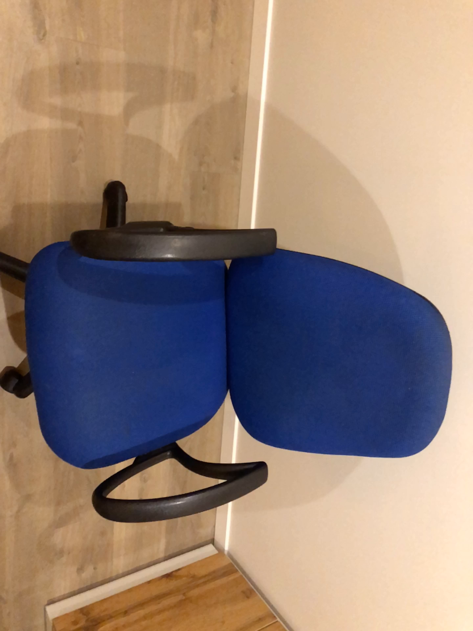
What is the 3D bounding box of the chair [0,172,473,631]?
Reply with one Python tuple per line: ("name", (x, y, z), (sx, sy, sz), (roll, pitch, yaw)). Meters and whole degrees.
("chair", (-0.114, 0.079, 1.150), (0.702, 0.906, 0.696), (-13, 112, -30))
